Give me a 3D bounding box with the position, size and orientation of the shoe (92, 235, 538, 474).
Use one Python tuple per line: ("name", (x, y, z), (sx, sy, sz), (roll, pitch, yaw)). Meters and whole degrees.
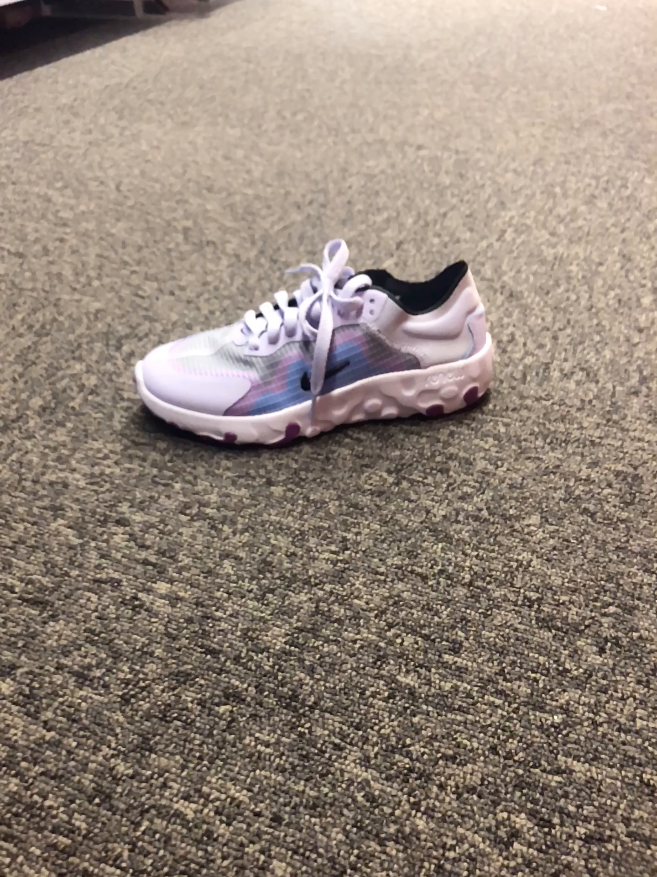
("shoe", (-0.009, -0.060, 0.491), (0.260, 0.099, 0.101), (-6, 39, -5))
